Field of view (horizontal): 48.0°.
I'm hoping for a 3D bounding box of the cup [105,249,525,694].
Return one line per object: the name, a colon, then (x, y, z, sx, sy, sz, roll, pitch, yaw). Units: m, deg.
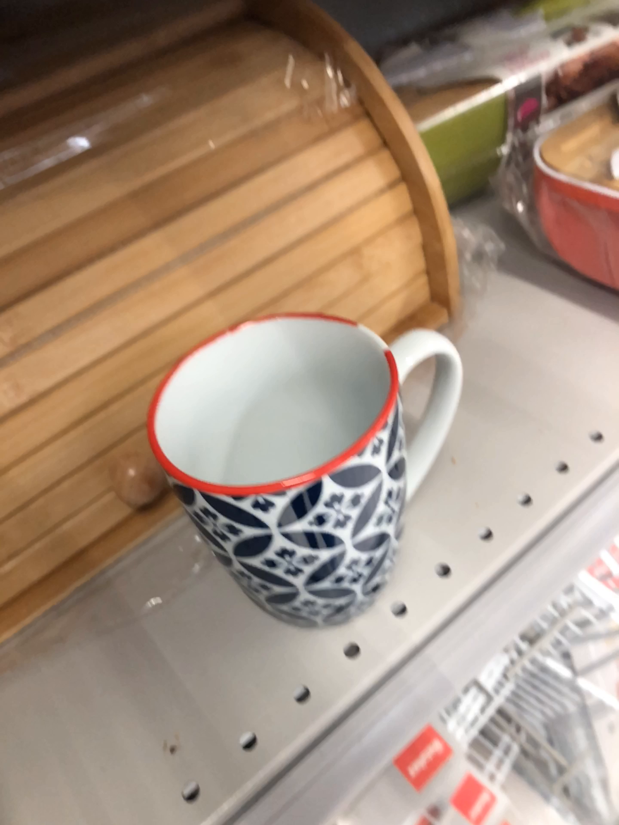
cup: (0.008, 0.017, 0.256, 0.113, 0.090, 0.080, -35, 48, -20)
